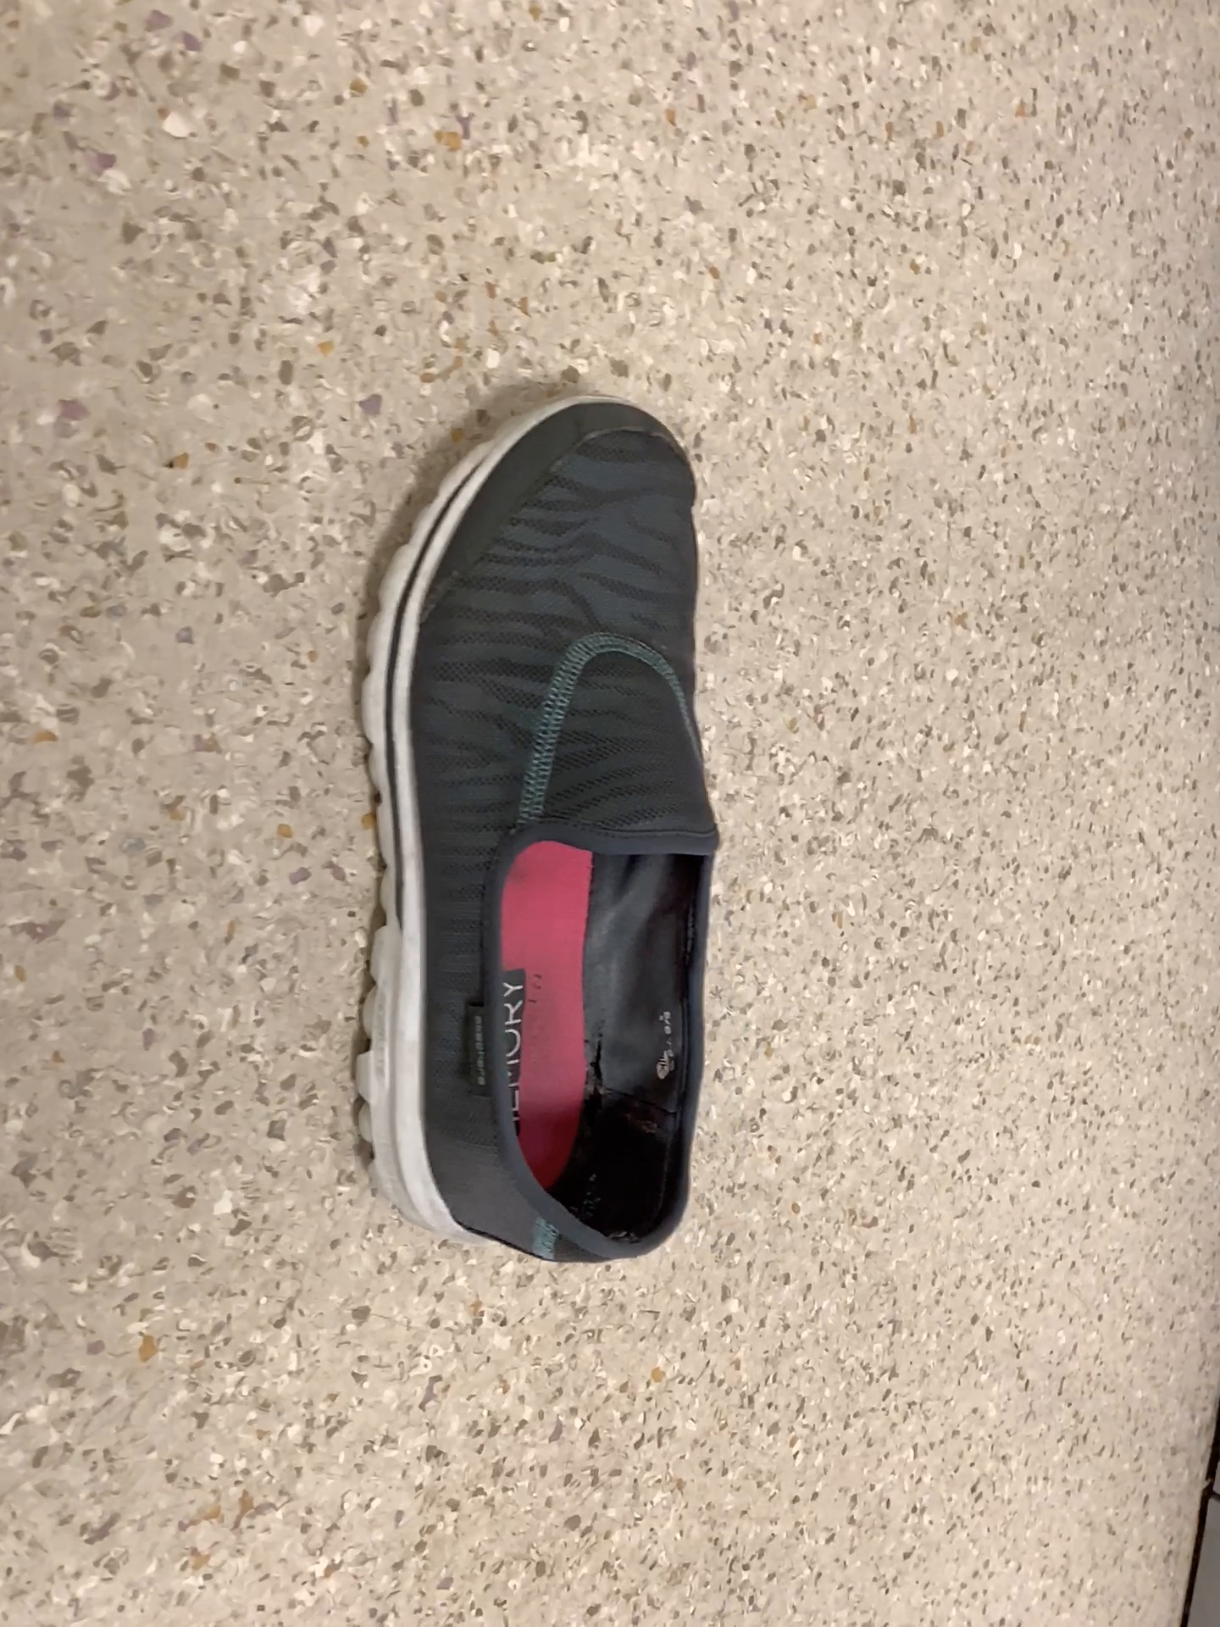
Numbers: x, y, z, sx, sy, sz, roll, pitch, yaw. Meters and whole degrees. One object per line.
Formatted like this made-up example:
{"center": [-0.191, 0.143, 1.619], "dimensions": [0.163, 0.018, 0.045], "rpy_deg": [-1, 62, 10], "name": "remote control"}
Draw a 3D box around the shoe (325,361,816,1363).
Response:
{"center": [-0.014, 0.010, 0.352], "dimensions": [0.103, 0.075, 0.239], "rpy_deg": [-5, 102, -38], "name": "shoe"}
